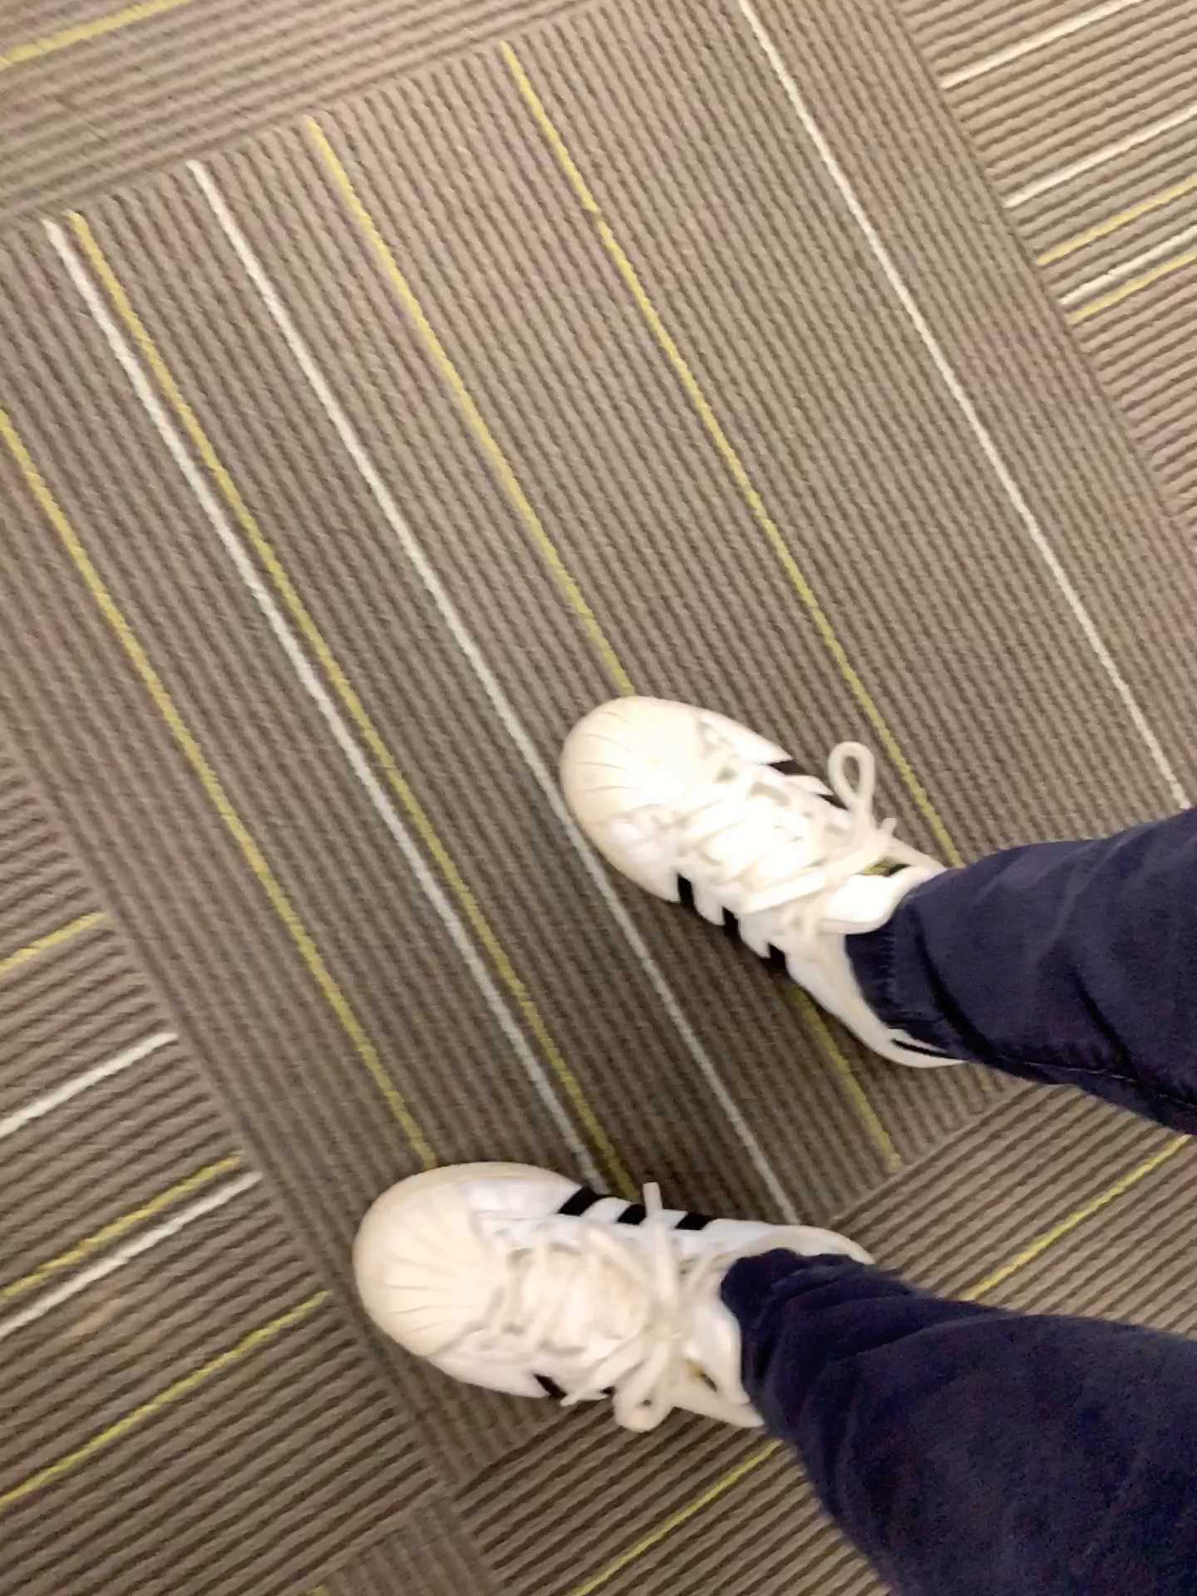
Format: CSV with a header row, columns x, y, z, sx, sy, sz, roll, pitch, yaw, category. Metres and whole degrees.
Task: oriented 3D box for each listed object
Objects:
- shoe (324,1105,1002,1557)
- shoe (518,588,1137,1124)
x,y,z,sx,sy,sz,roll,pitch,yaw,category
0.024,0.229,0.543,0.262,0.104,0.108,18,81,-11,shoe
0.104,0.032,0.589,0.258,0.104,0.105,36,78,-7,shoe
